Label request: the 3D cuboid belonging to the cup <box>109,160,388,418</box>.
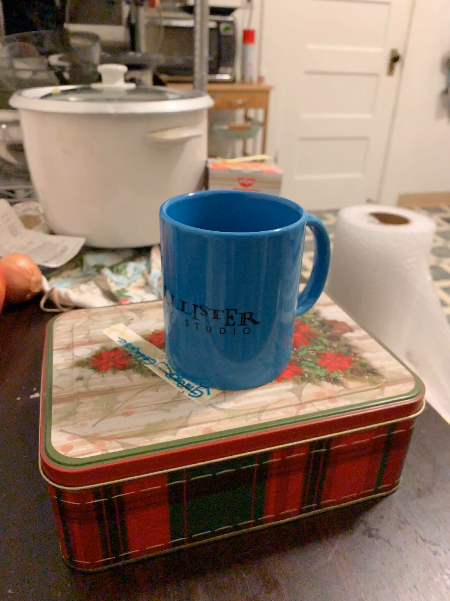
[{"bbox_3d":[0.014,-0.019,0.286,0.130,0.099,0.090,-20,34,-35],"label":"cup"}]
